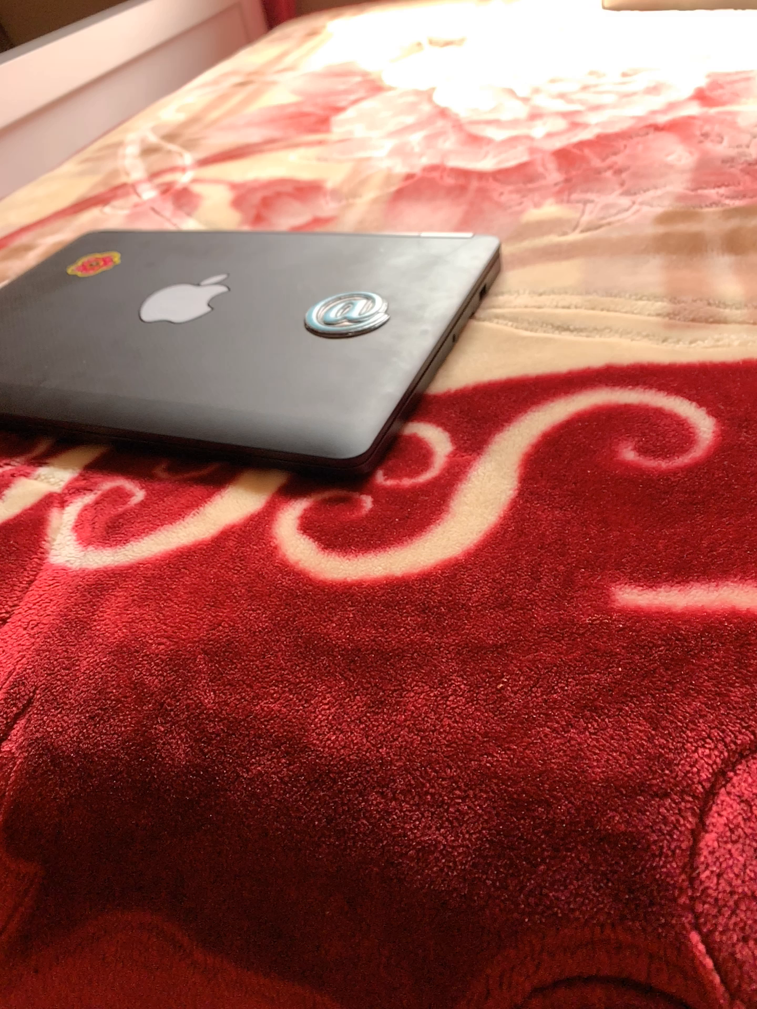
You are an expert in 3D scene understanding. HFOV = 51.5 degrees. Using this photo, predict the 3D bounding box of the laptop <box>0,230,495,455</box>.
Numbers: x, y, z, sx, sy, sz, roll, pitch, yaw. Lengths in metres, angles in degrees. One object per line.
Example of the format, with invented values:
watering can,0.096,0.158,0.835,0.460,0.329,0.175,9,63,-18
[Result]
laptop,-0.109,-0.108,0.429,0.300,0.001,0.209,9,43,23
